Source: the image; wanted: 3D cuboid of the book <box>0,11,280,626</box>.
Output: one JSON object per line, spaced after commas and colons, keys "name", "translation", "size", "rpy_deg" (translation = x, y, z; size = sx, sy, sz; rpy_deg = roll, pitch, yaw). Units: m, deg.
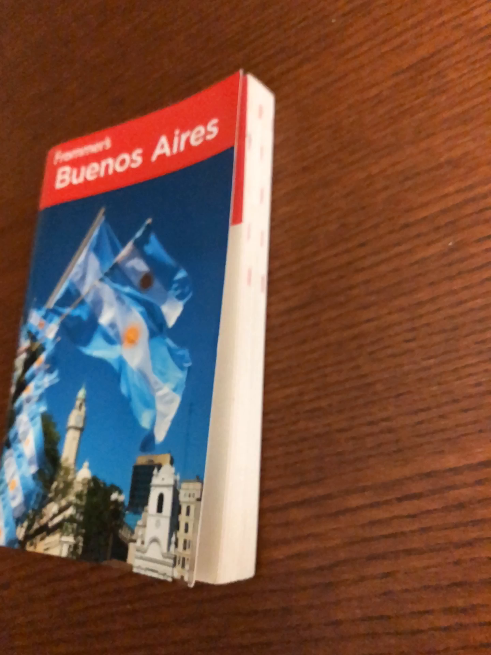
{"name": "book", "translation": [-0.062, -0.008, 0.238], "size": [0.160, 0.020, 0.220], "rpy_deg": [-8, 71, 30]}
